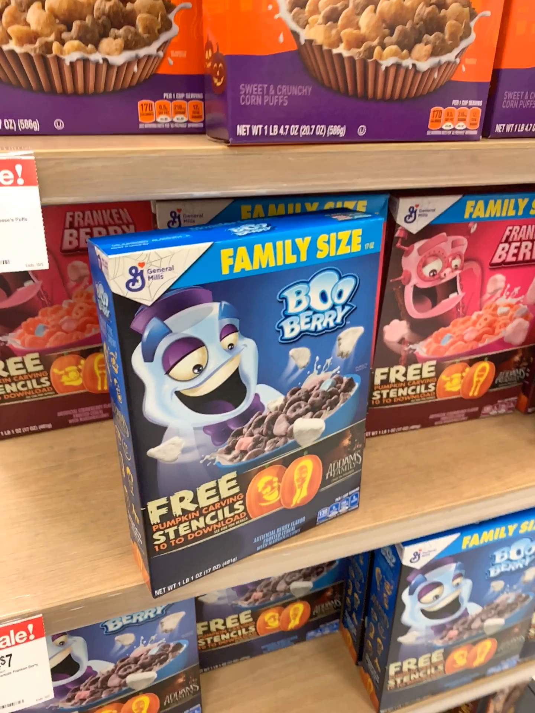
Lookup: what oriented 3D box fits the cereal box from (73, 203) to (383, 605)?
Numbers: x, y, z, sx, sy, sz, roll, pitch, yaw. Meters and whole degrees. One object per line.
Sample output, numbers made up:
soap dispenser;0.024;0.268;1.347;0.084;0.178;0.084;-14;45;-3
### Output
cereal box;-0.020;0.036;0.491;0.240;0.308;0.060;-15;28;-29
